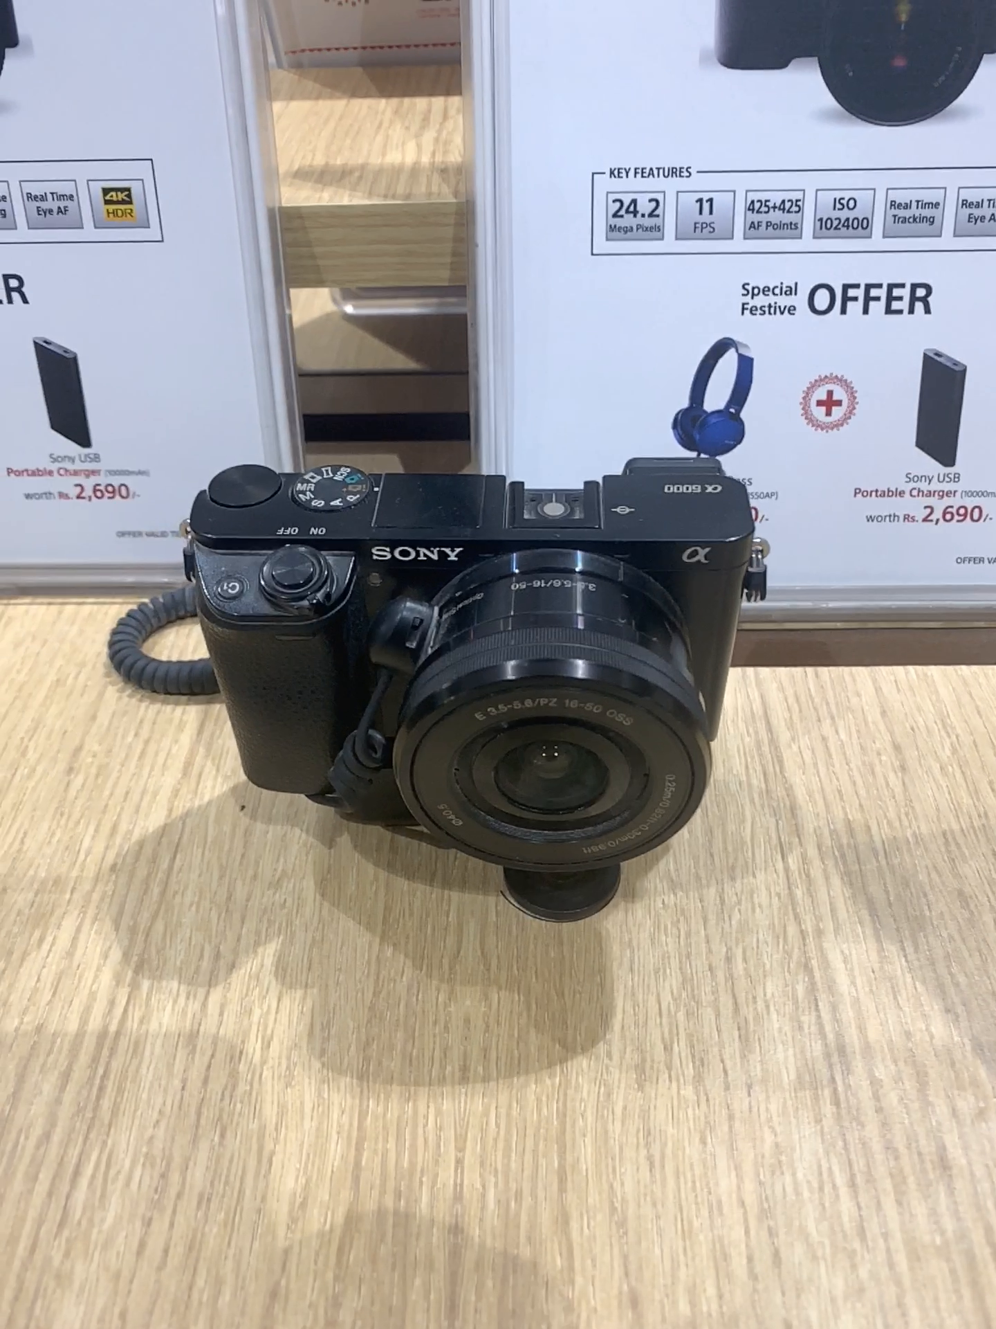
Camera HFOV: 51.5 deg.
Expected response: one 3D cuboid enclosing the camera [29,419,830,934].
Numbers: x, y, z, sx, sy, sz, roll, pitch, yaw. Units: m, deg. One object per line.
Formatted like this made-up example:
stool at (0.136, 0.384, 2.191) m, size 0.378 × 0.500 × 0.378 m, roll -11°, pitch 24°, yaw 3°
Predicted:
camera at (-0.009, 0.001, 0.203) m, size 0.120 × 0.070 × 0.070 m, roll 1°, pitch 42°, yaw 3°
